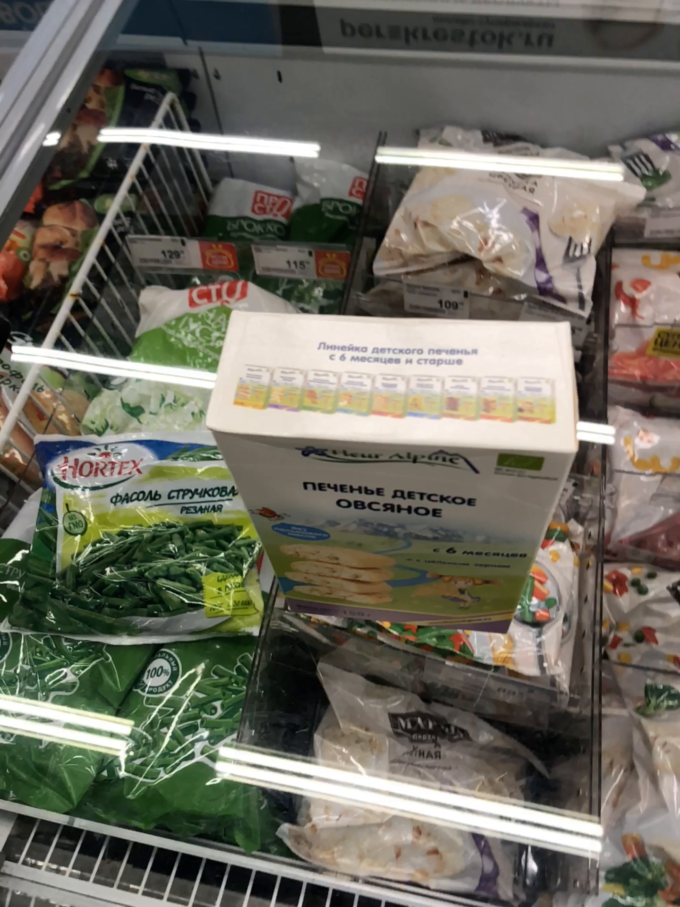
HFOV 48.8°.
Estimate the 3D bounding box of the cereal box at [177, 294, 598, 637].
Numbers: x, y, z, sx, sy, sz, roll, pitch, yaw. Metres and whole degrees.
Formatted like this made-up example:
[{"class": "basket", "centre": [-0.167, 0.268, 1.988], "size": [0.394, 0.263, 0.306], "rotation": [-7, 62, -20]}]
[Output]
[{"class": "cereal box", "centre": [0.022, 0.019, 0.308], "size": [0.120, 0.189, 0.050], "rotation": [3, 61, 8]}]
